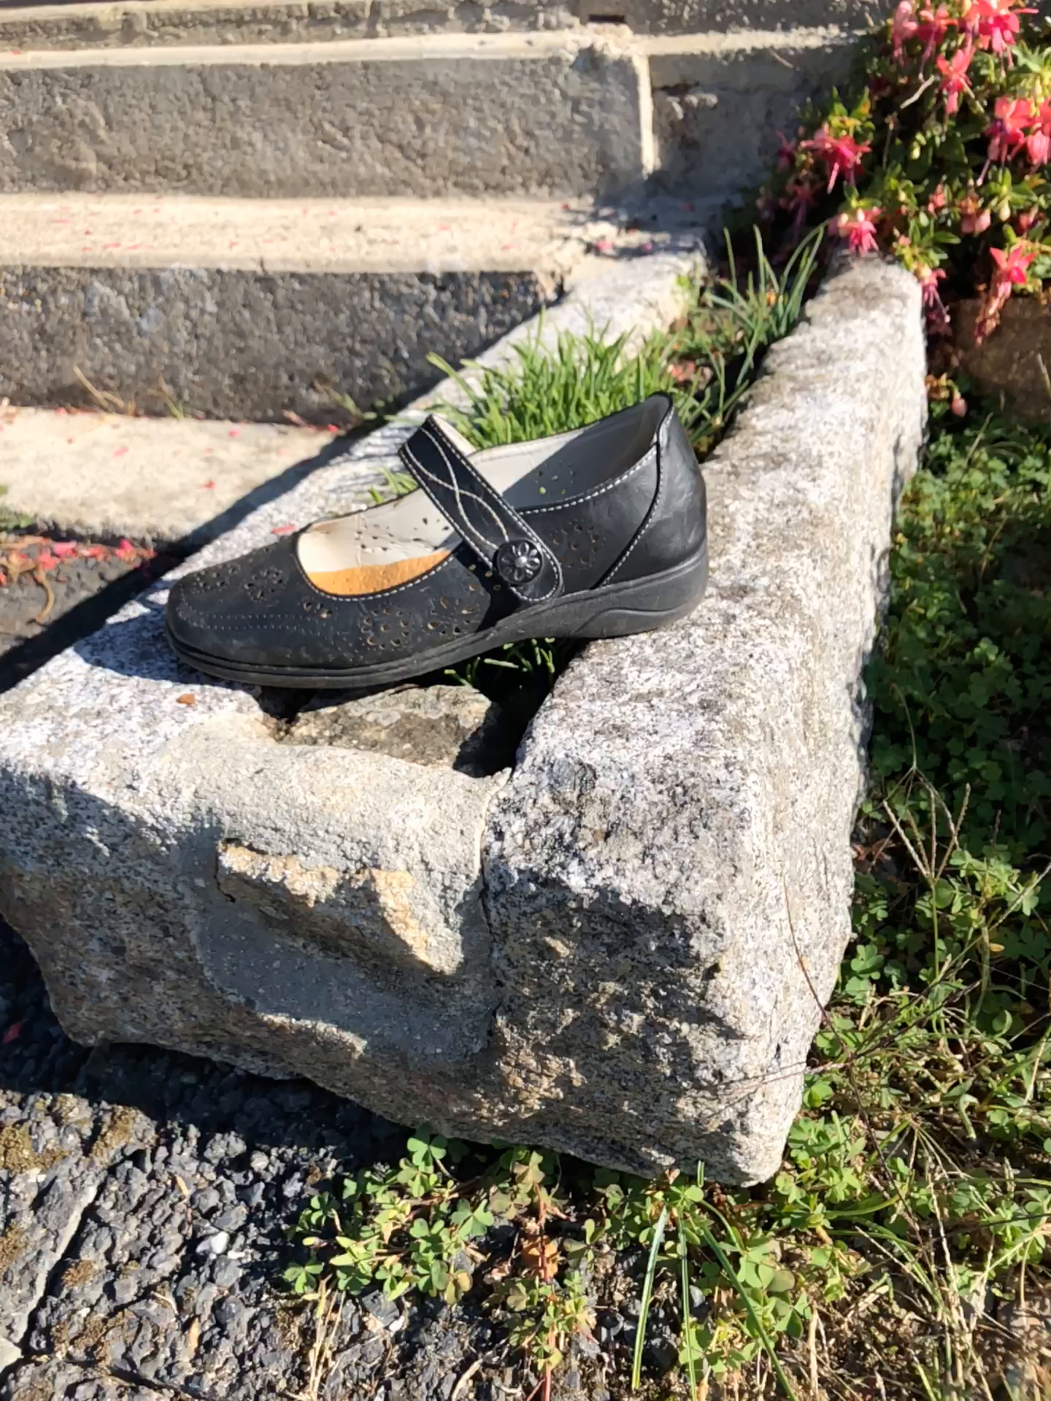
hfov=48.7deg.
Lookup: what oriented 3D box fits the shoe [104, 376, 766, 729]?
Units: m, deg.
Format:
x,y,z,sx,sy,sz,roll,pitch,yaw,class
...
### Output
x,y,z,sx,sy,sz,roll,pitch,yaw,class
-0.034,-0.068,0.507,0.250,0.099,0.101,-5,32,-3,shoe
